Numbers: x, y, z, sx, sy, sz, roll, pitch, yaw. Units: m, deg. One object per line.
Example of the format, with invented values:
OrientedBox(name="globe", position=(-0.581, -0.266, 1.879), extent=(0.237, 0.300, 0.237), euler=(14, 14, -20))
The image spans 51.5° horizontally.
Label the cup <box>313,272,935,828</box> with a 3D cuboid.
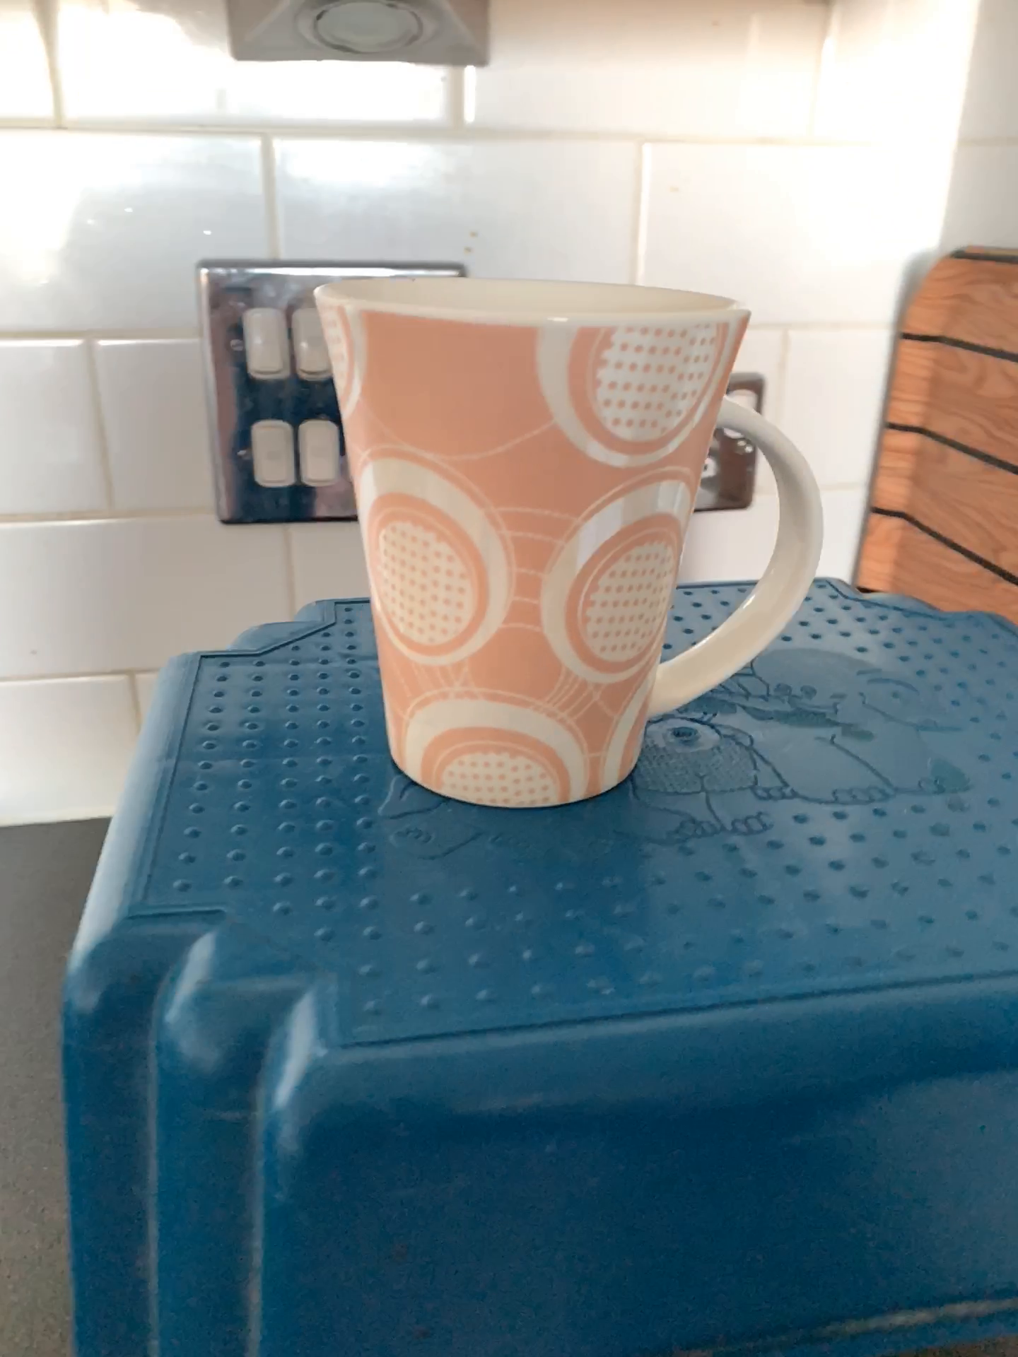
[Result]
OrientedBox(name="cup", position=(0.016, -0.036, 0.248), extent=(0.116, 0.105, 0.078), euler=(-4, 25, -10))
